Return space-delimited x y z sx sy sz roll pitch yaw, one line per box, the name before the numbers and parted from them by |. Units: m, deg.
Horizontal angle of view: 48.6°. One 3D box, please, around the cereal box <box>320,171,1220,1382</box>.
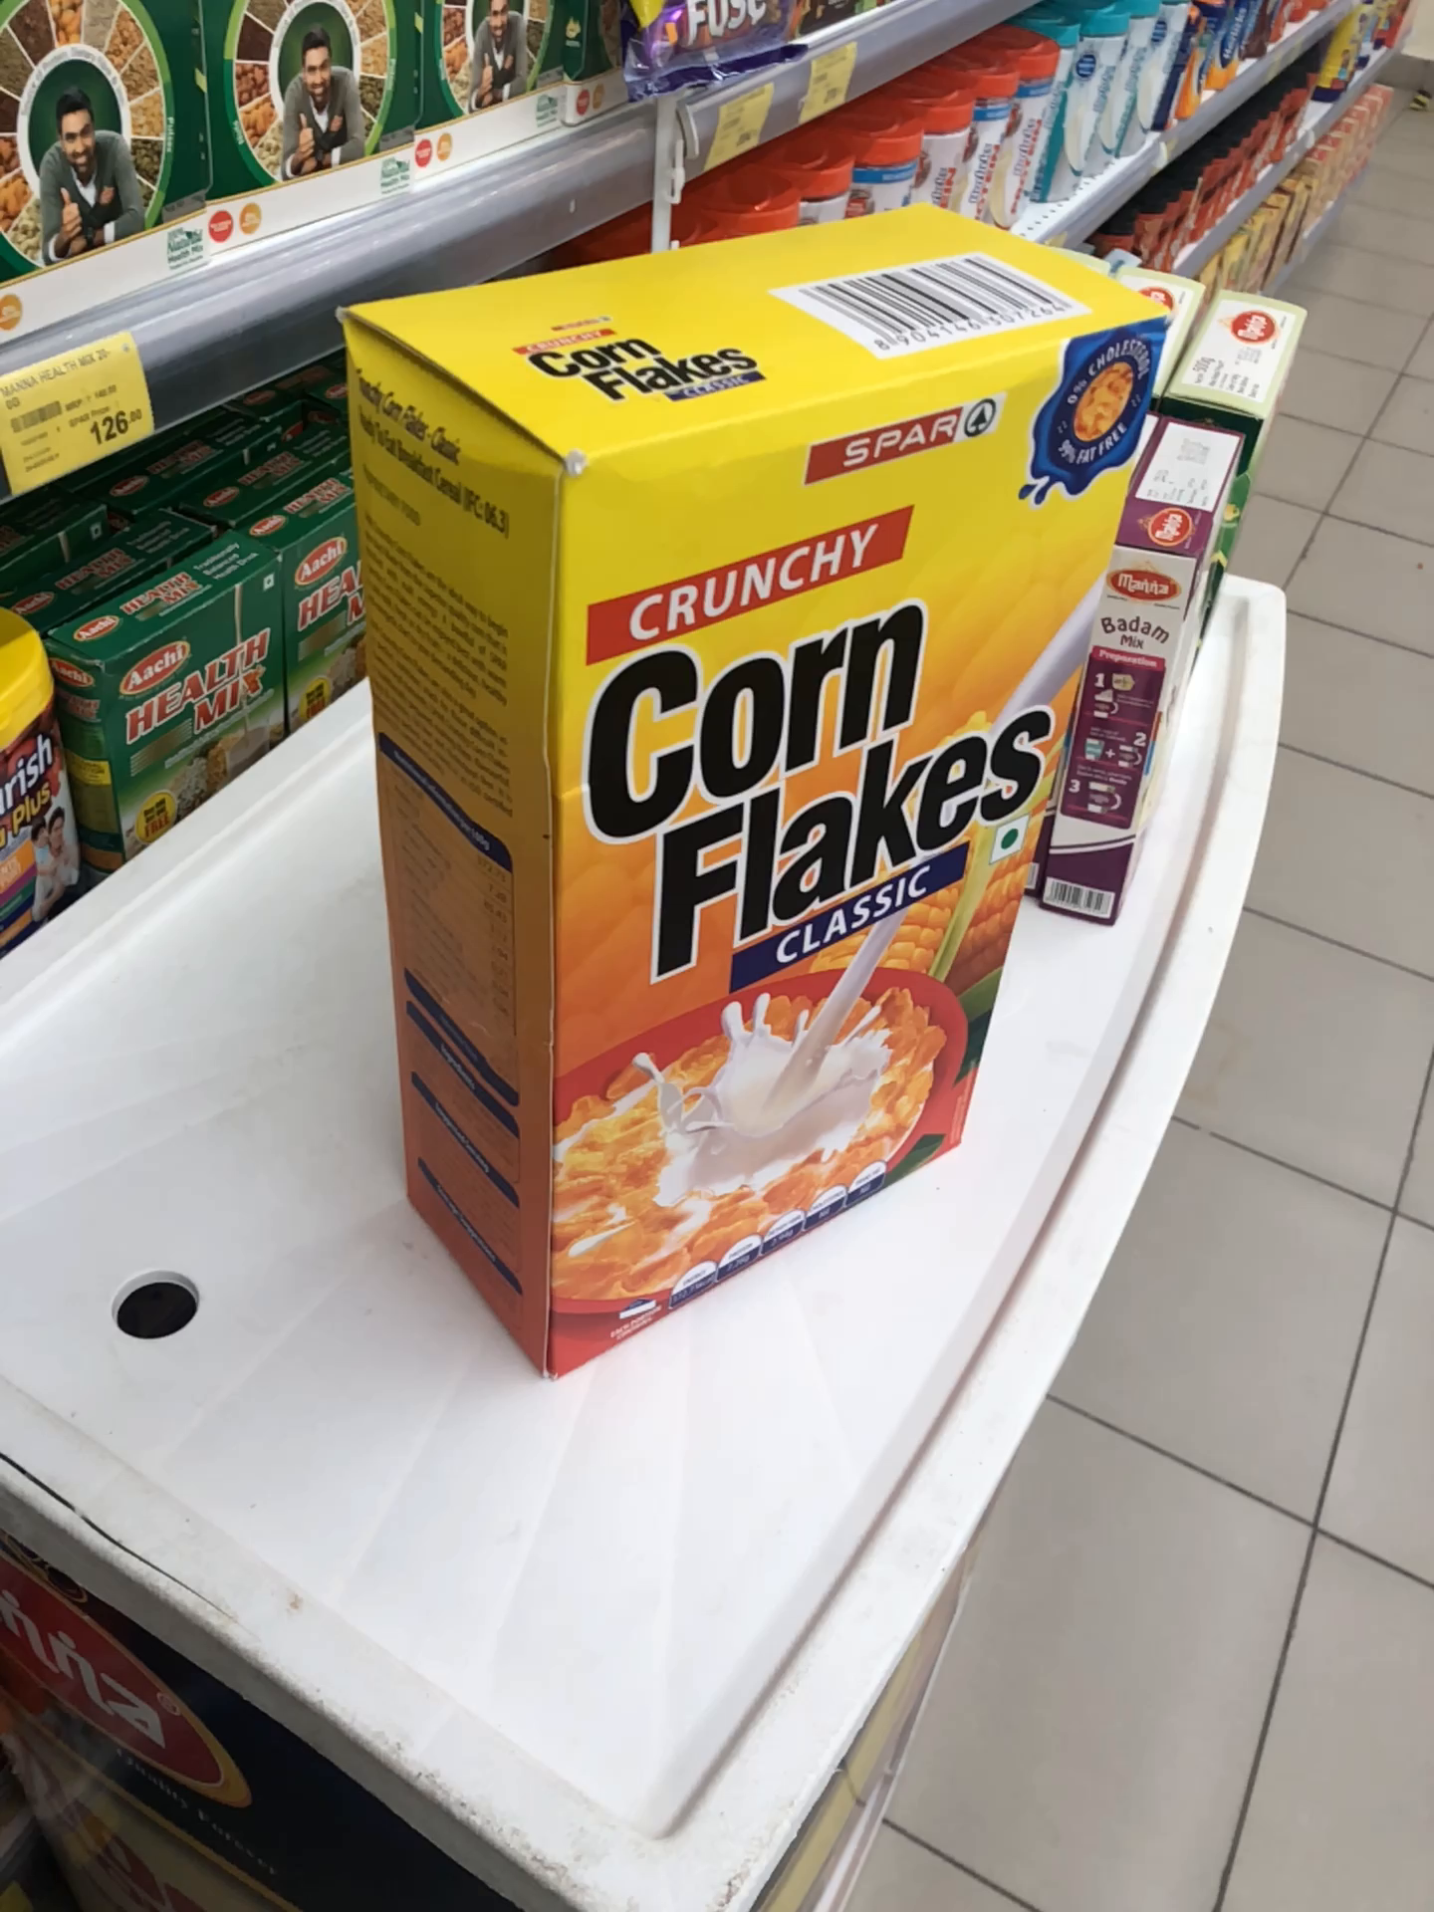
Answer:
cereal box | 0.004 -0.042 0.479 0.200 0.319 0.090 -24 50 -30
